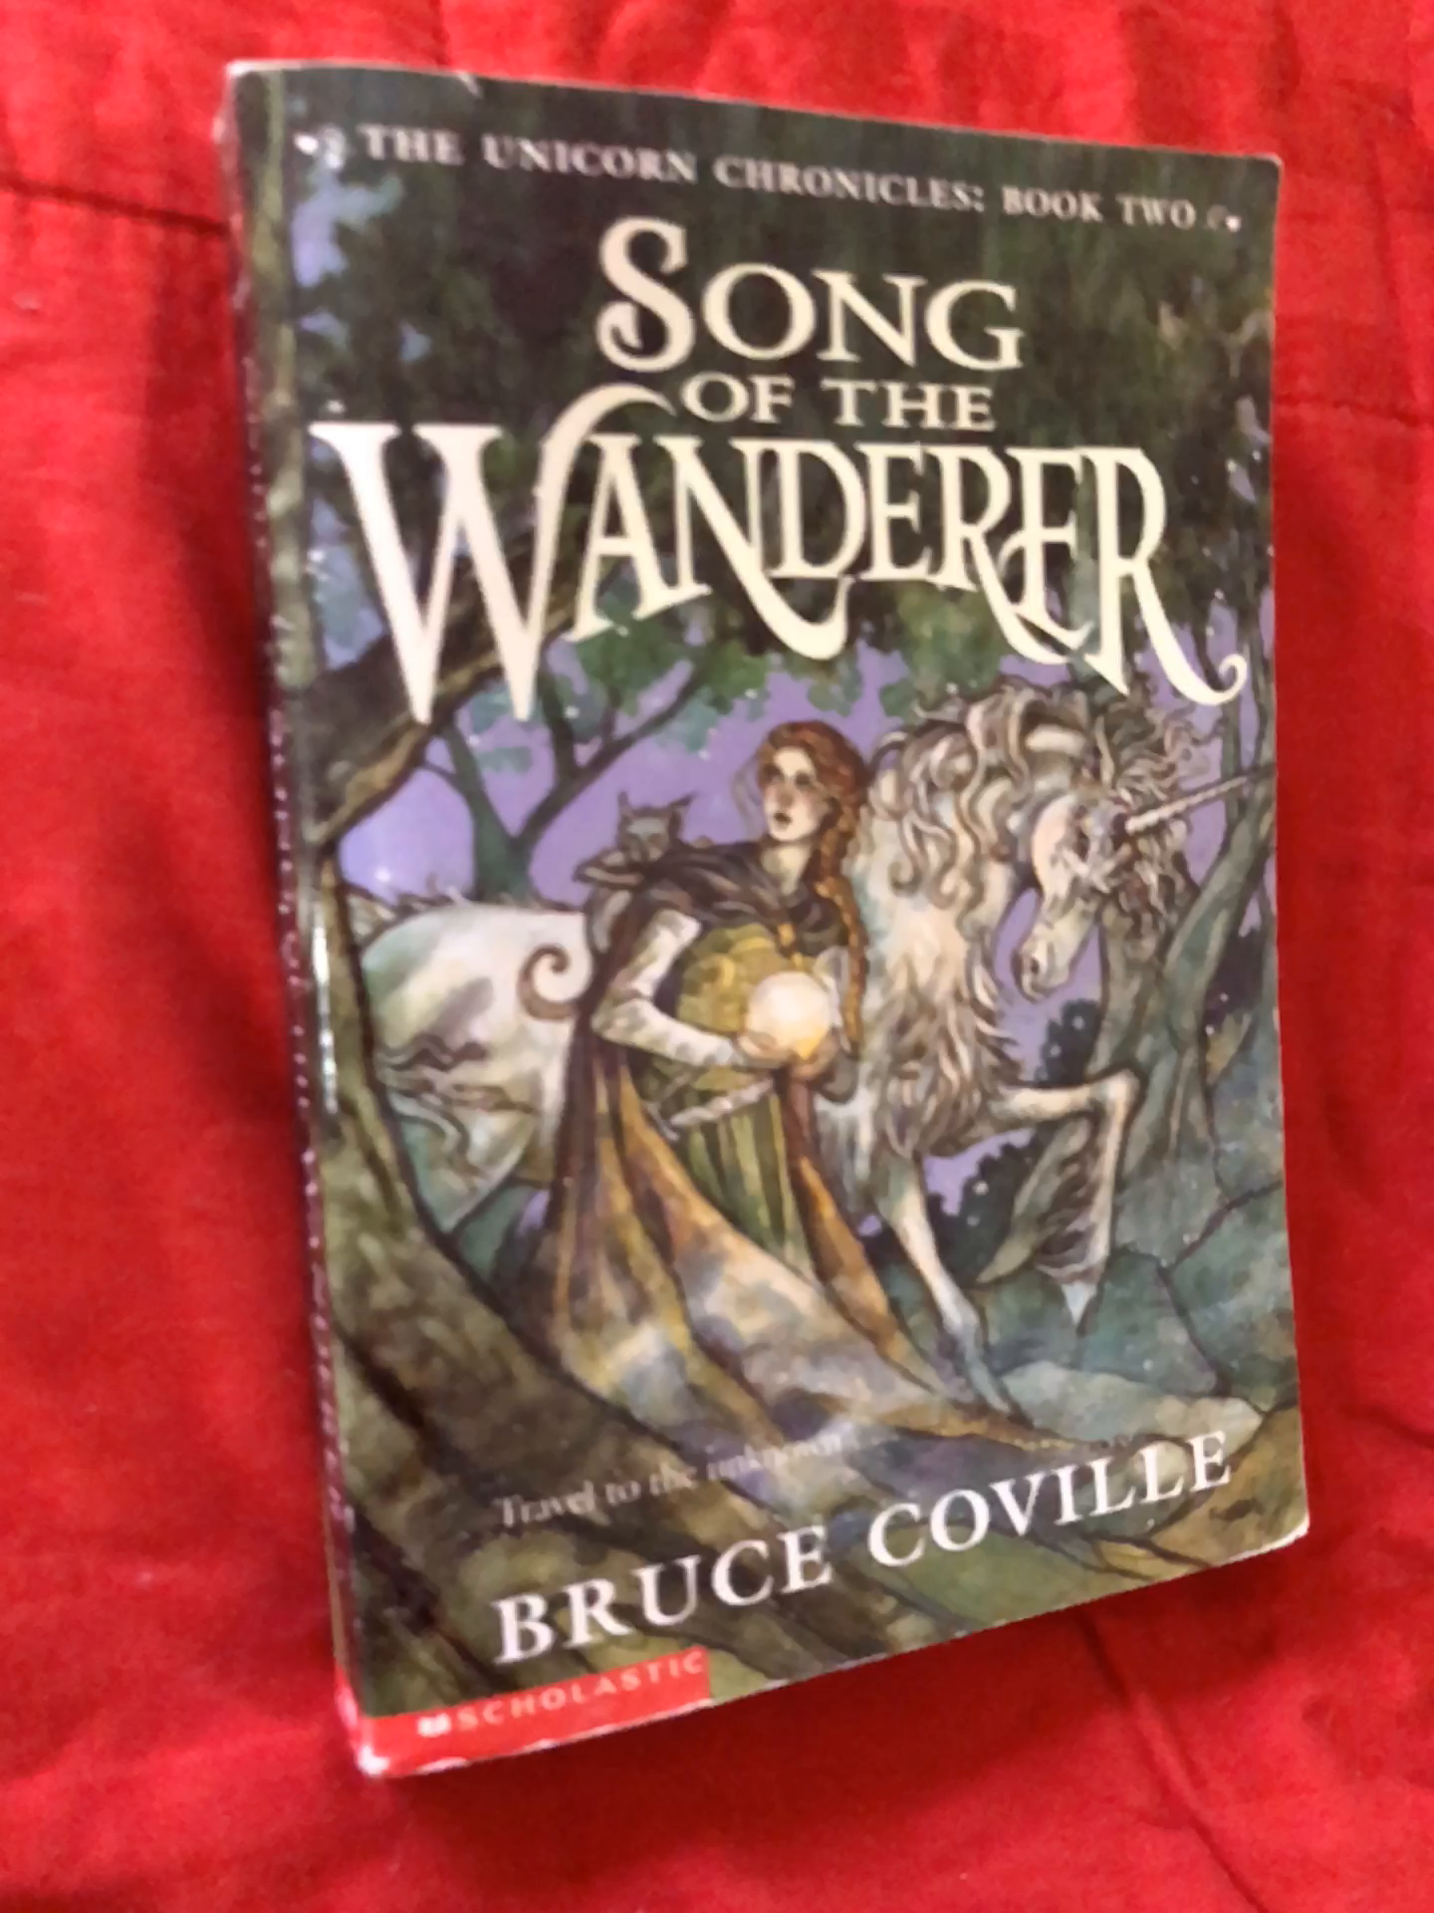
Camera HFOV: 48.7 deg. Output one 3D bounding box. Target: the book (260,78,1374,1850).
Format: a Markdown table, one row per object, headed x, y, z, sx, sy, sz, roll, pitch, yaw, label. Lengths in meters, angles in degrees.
| x | y | z | sx | sy | sz | roll | pitch | yaw | label |
| --- | --- | --- | --- | --- | --- | --- | --- | --- | --- |
| 0.018 | -0.002 | 0.204 | 0.130 | 0.030 | 0.190 | -6 | 95 | -19 | book |
